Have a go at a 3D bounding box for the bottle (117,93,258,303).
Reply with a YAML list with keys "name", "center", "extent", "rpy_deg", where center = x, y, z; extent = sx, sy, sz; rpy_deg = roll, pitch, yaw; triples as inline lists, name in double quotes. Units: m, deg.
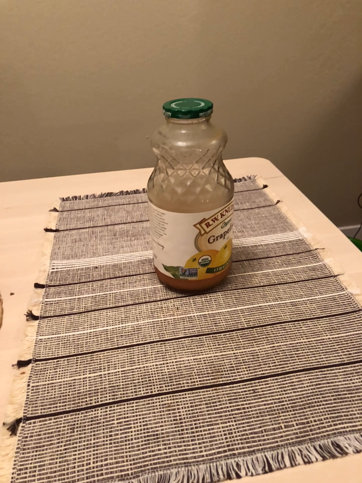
- name: "bottle"
  center: [0.013, -0.051, 0.441]
  extent: [0.100, 0.189, 0.101]
  rpy_deg: [-2, 31, 1]
